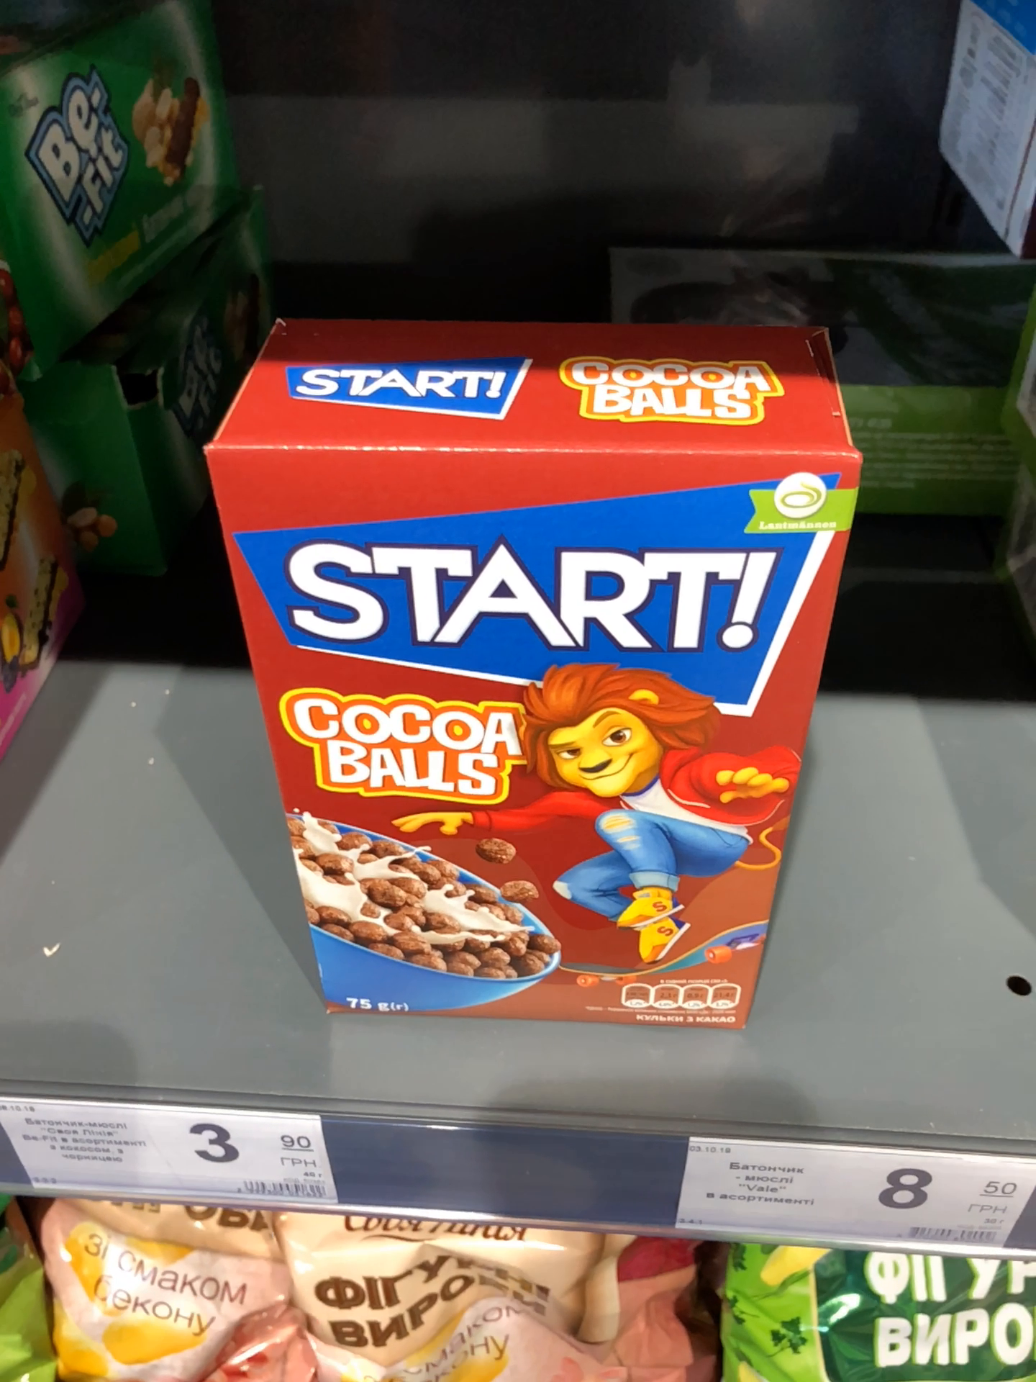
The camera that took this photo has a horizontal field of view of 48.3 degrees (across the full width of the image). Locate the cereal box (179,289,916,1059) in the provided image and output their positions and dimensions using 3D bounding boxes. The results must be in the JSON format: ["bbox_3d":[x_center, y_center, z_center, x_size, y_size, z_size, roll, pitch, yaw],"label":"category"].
[{"bbox_3d":[0.006,0.008,0.252,0.110,0.169,0.060,1,43,2],"label":"cereal box"}]
